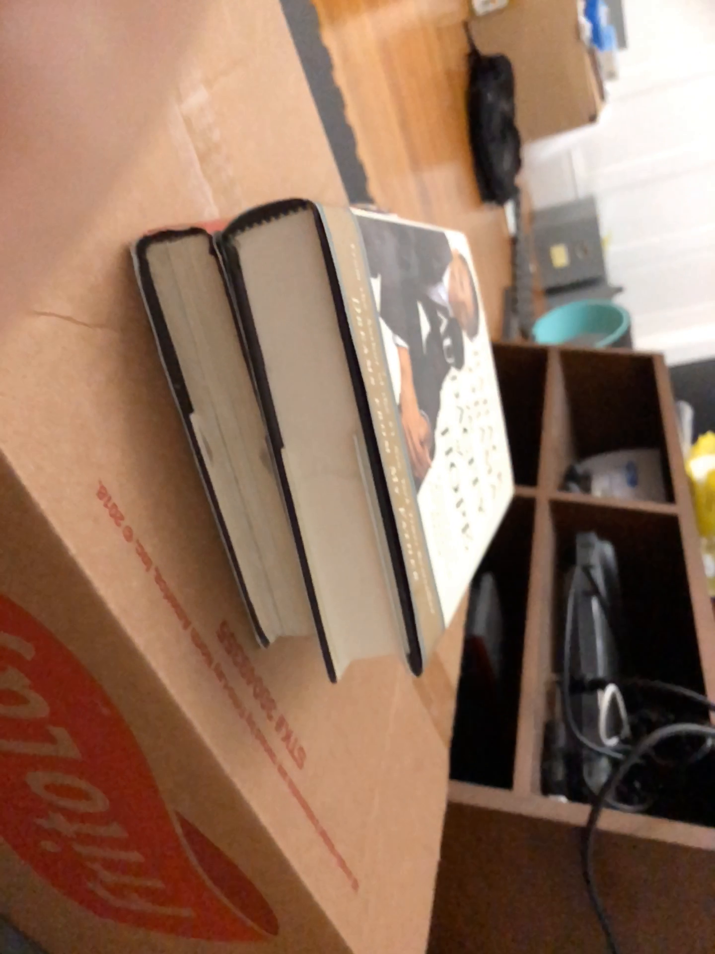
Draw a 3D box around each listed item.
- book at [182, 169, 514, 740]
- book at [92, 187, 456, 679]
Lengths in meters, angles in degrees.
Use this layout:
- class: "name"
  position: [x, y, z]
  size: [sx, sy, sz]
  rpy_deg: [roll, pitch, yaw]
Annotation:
- class: "book"
  position: [0.021, -0.029, 0.381]
  size: [0.251, 0.040, 0.190]
  rpy_deg: [-37, 116, -67]
- class: "book"
  position: [-0.011, -0.047, 0.390]
  size: [0.251, 0.040, 0.170]
  rpy_deg: [-50, 128, -64]
